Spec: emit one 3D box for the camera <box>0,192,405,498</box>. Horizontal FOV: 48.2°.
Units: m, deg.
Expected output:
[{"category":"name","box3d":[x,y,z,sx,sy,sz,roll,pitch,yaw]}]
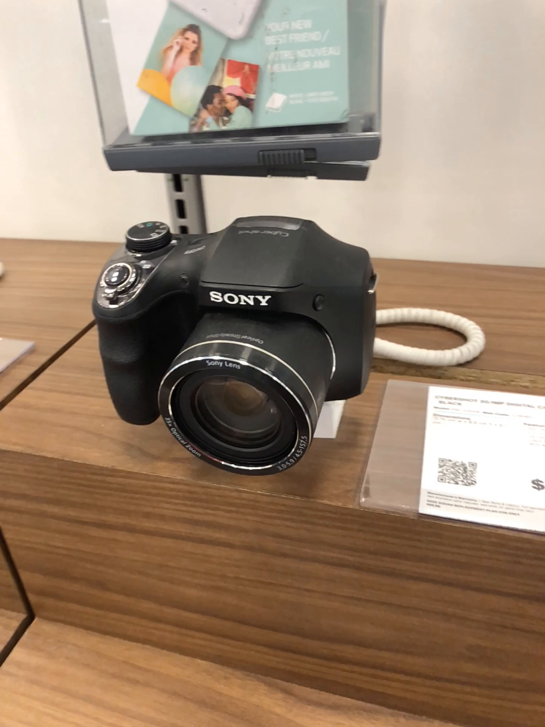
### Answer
[{"category":"camera","box3d":[-0.019,-0.021,0.275,0.140,0.080,0.120,5,31,16]}]
